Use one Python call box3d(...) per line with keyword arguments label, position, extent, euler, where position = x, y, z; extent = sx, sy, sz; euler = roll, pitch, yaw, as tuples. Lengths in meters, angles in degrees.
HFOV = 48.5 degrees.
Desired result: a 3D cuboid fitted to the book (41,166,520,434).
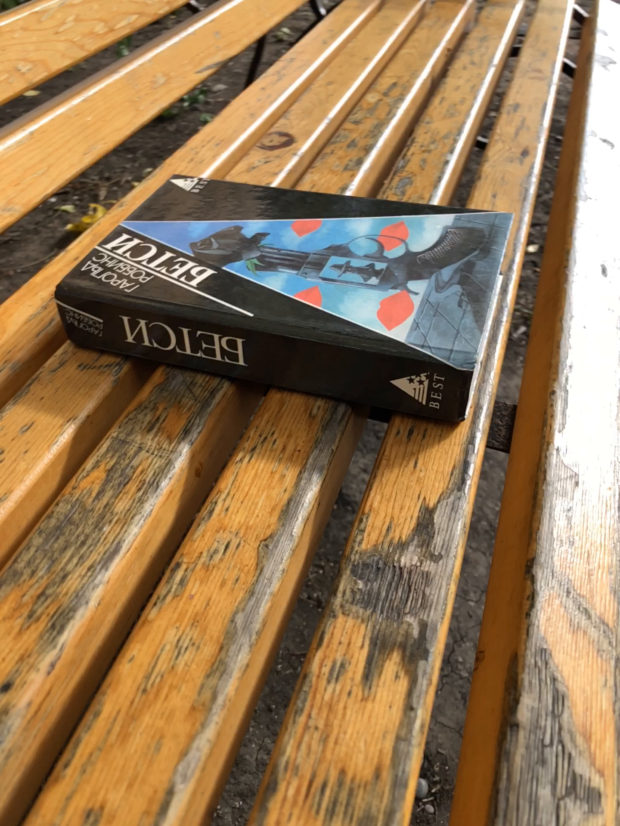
box3d(label="book", position=(-0.008, -0.070, 0.362), extent=(0.210, 0.045, 0.130), euler=(12, 44, 14))
